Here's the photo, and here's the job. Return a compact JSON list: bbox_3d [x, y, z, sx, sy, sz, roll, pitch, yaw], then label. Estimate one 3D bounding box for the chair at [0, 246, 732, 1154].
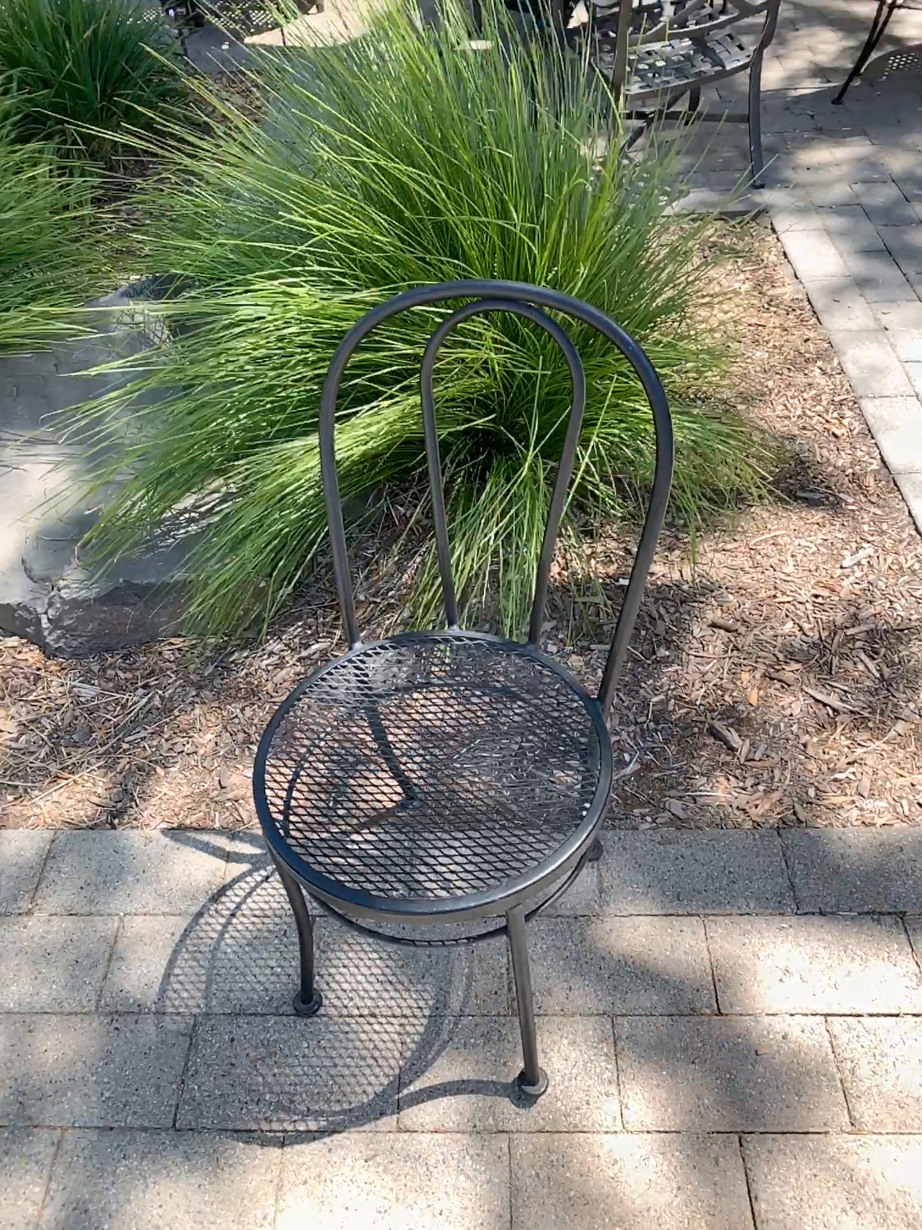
[{"bbox_3d":[-0.041,0.119,1.057,0.472,0.788,0.539,12,48,13],"label":"chair"}]
